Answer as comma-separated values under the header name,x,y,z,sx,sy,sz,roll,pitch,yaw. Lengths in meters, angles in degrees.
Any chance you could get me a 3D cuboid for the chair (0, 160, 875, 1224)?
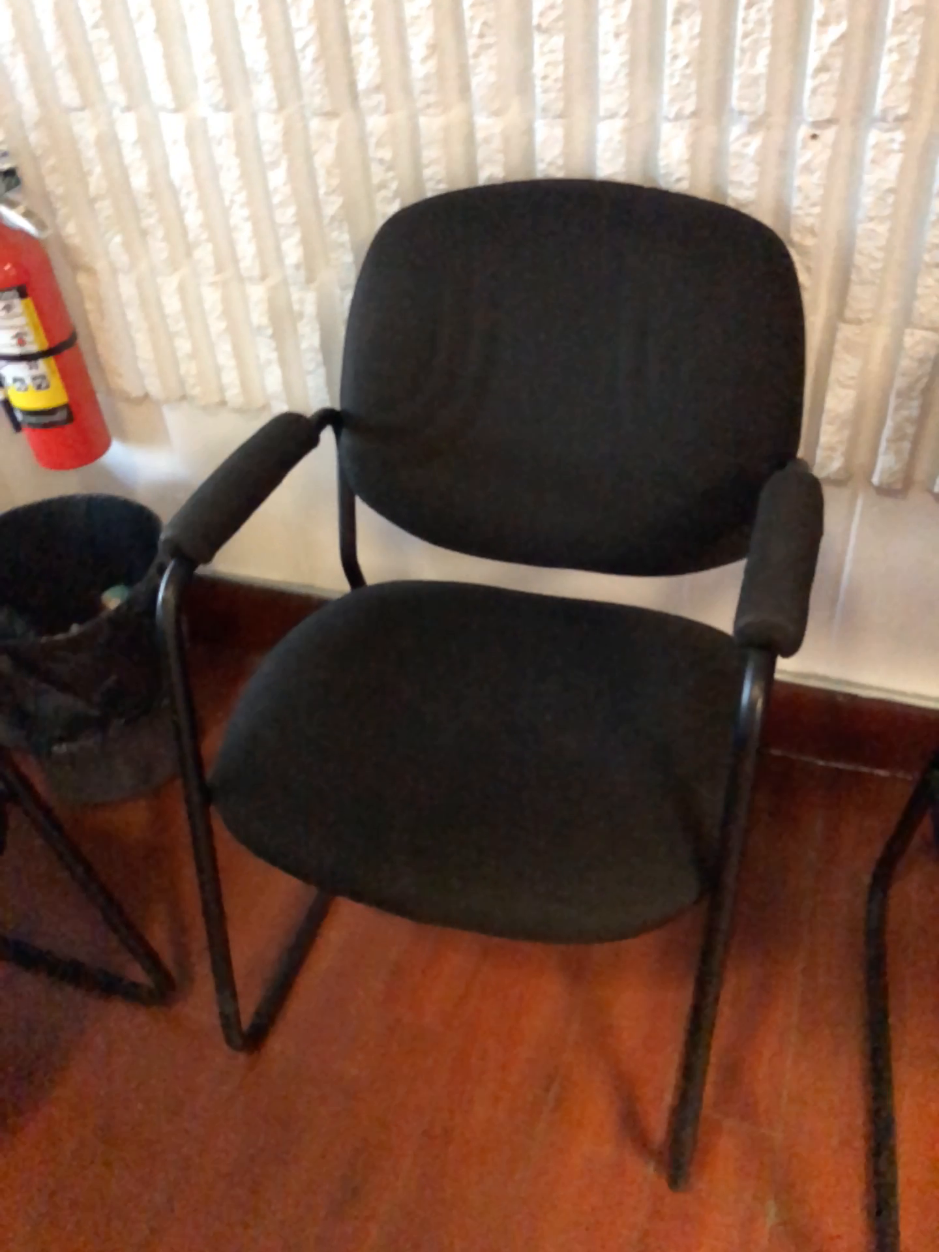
name,x,y,z,sx,sy,sz,roll,pitch,yaw
chair,0.061,0.017,1.161,0.591,0.795,0.774,9,42,17
